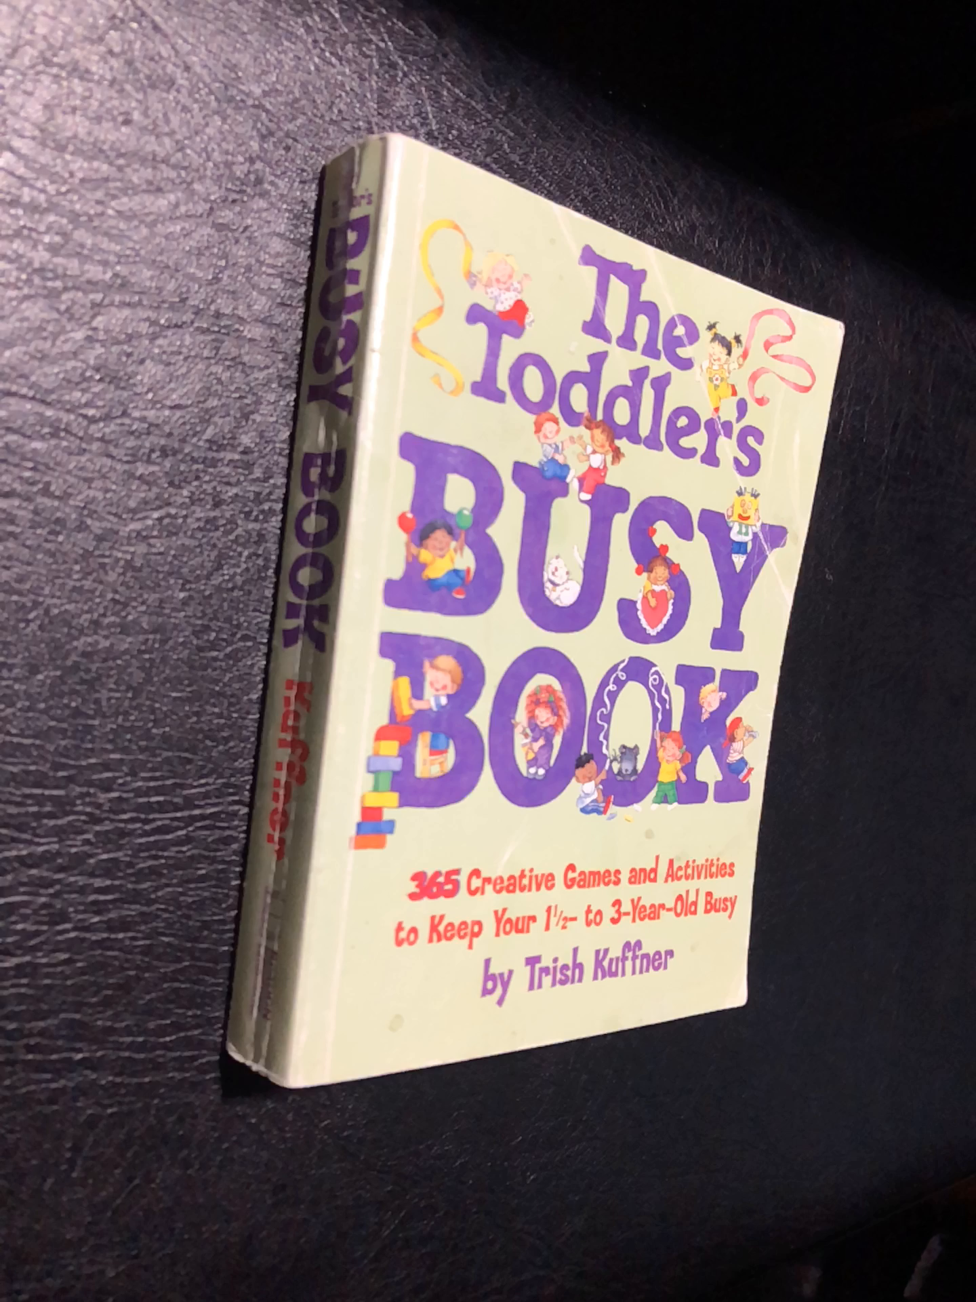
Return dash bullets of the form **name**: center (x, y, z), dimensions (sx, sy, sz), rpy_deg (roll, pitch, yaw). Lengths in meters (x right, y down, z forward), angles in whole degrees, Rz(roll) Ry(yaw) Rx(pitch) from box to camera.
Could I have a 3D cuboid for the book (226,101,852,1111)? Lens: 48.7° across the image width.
- **book**: center (0.020, -0.004, 0.242), dimensions (0.136, 0.033, 0.176), rpy_deg (6, 90, -39)
